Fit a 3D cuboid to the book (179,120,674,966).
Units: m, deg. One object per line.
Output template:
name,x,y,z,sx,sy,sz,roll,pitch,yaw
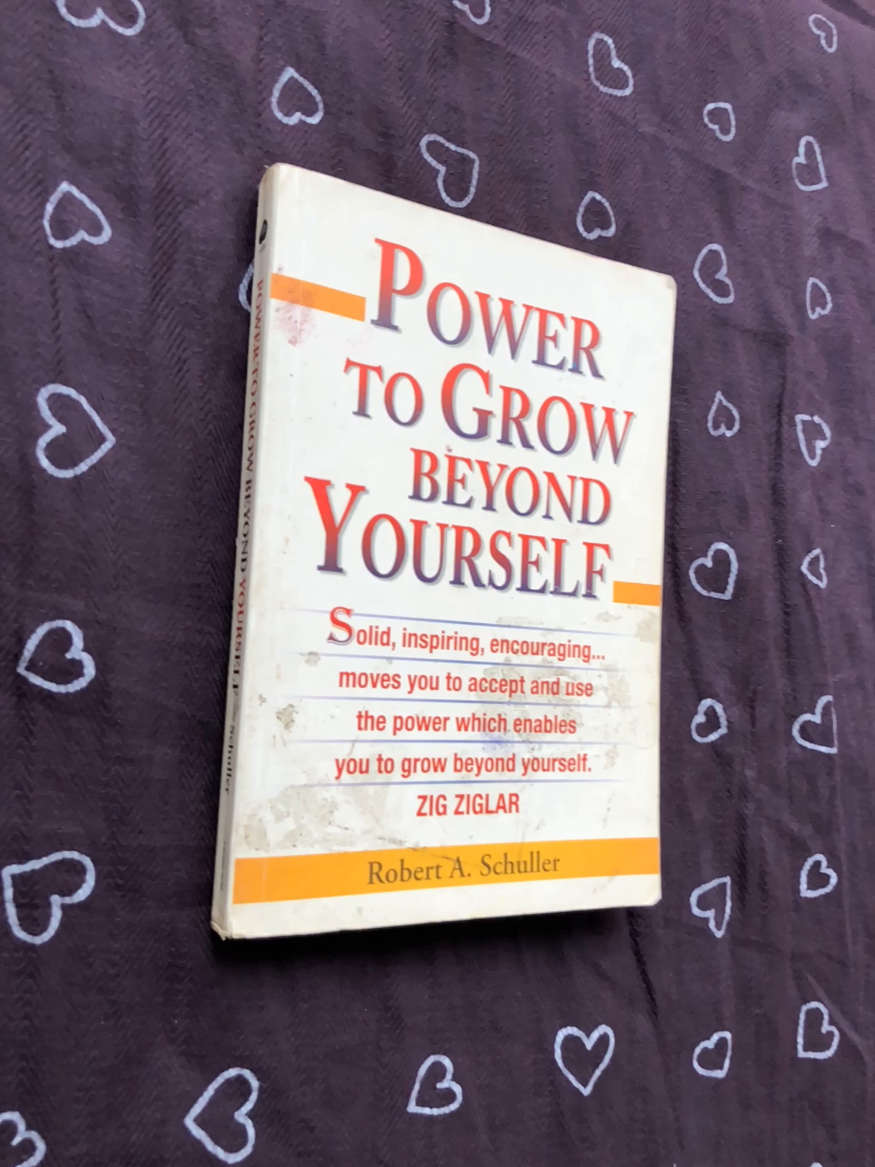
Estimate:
book,0.005,-0.006,0.250,0.120,0.030,0.180,7,83,-32
